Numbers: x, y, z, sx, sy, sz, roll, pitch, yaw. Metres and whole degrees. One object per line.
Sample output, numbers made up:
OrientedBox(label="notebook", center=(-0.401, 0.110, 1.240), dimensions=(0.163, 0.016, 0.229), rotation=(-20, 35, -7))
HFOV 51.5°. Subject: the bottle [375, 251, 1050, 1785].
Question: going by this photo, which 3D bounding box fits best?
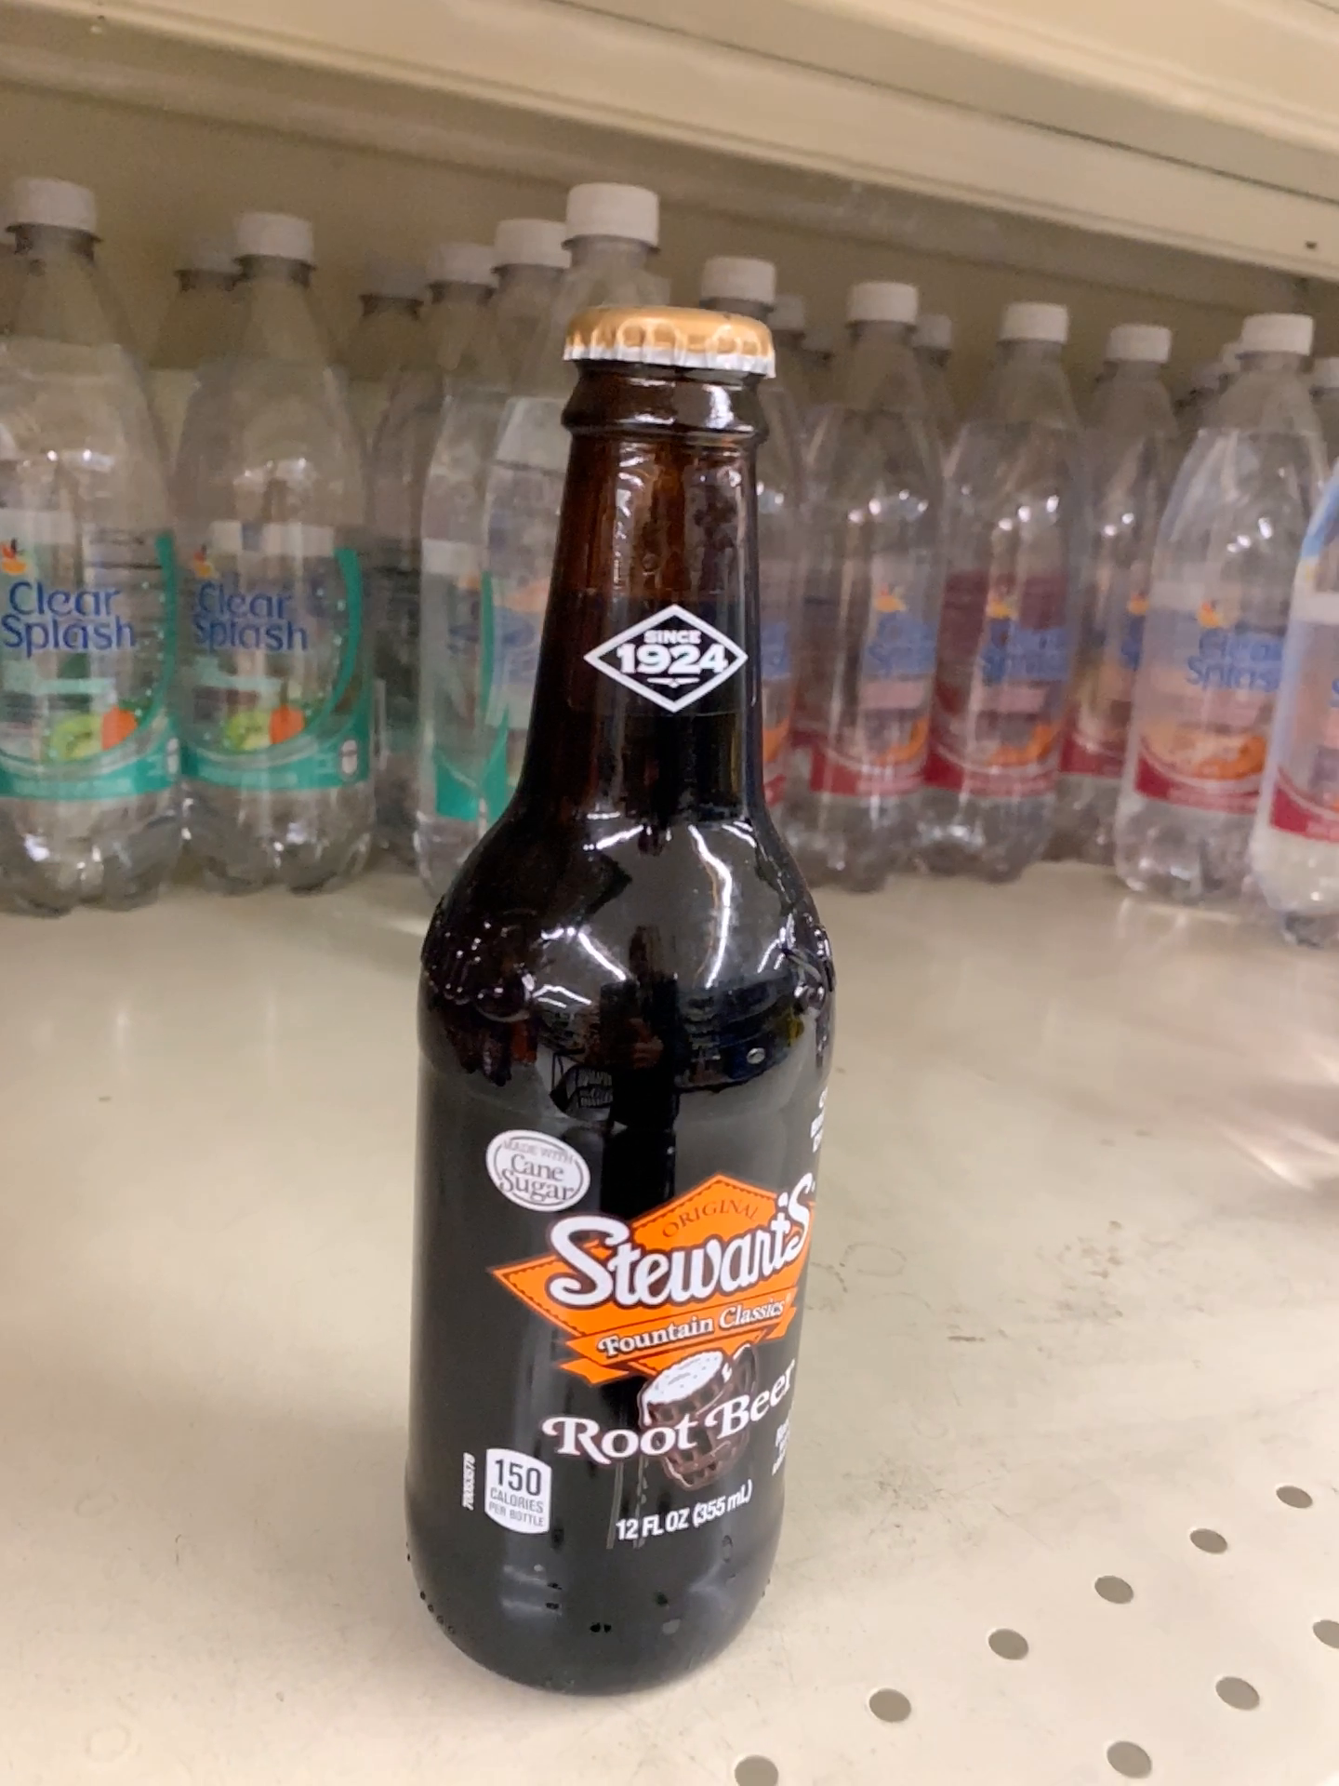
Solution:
OrientedBox(label="bottle", center=(-0.004, 0.021, 0.214), dimensions=(0.070, 0.207, 0.060), rotation=(-3, 18, -23))
